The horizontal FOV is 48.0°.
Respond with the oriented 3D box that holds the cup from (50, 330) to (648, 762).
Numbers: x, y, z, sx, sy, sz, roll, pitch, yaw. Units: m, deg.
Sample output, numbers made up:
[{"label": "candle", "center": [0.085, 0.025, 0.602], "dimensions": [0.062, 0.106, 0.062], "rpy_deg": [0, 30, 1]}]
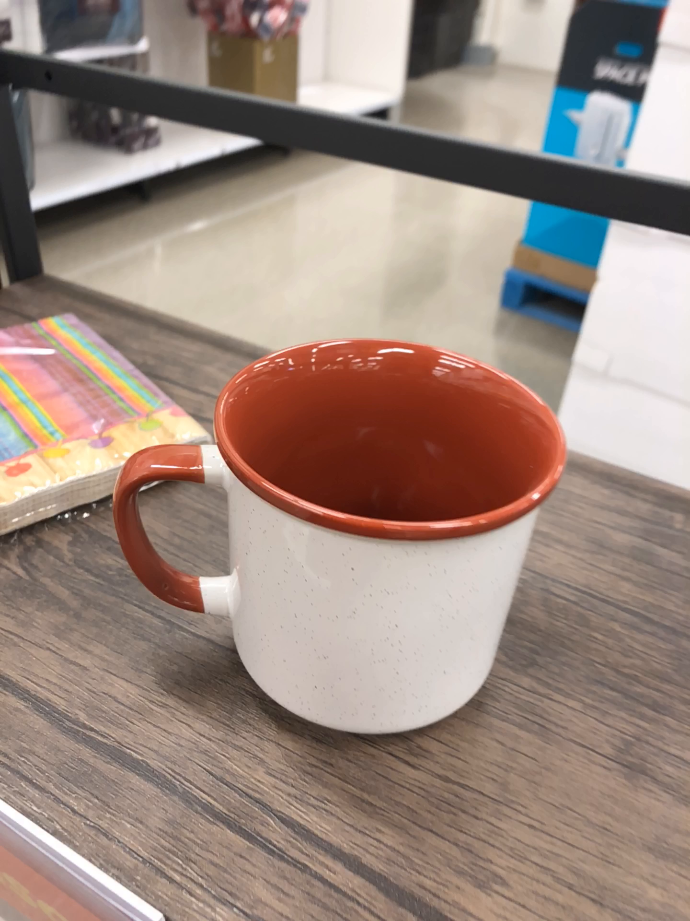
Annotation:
[{"label": "cup", "center": [-0.004, 0.022, 0.263], "dimensions": [0.150, 0.090, 0.110], "rpy_deg": [-1, 36, -7]}]
